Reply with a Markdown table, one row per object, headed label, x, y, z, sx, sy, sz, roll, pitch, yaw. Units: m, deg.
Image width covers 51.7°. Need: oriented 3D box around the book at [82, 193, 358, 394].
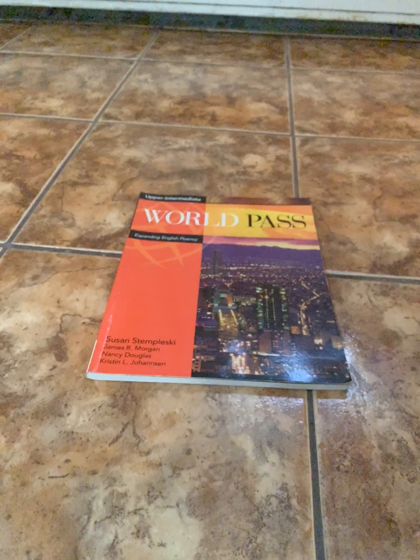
| label | x | y | z | sx | sy | sz | roll | pitch | yaw |
| --- | --- | --- | --- | --- | --- | --- | --- | --- | --- |
| book | 0.012 | -0.009 | 0.449 | 0.219 | 0.016 | 0.273 | 2 | 42 | 1 |
